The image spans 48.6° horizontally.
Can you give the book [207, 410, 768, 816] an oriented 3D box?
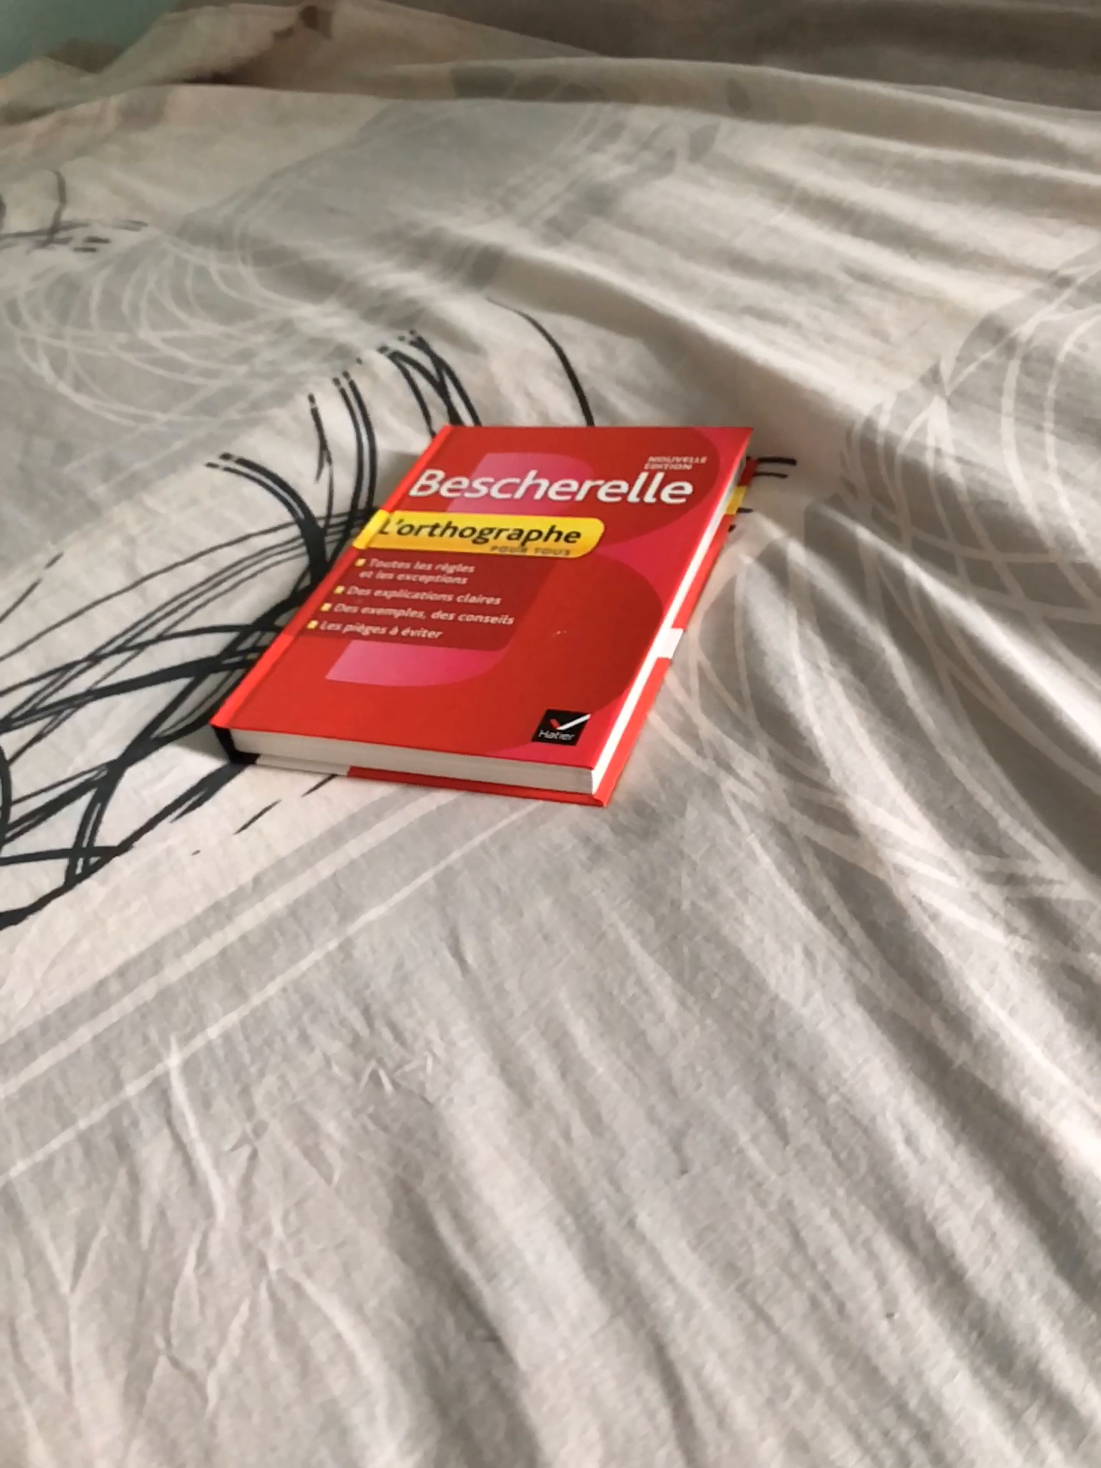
[{"bbox_3d":[-0.014,-0.055,0.441,0.142,0.023,0.190,5,46,23],"label":"book"}]
